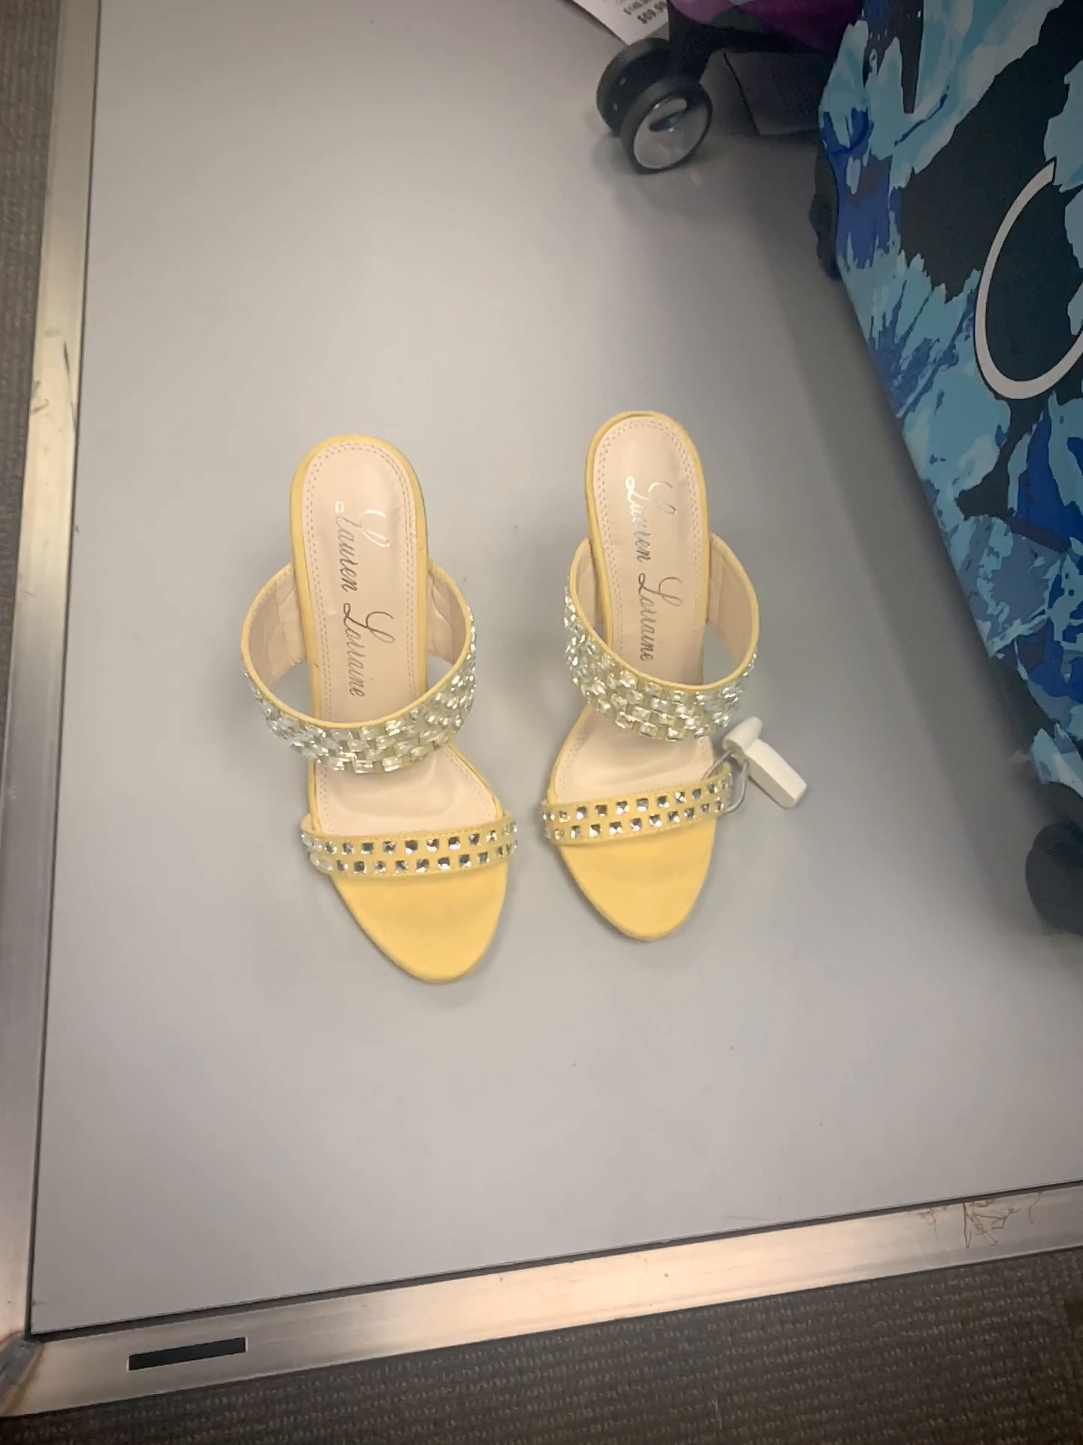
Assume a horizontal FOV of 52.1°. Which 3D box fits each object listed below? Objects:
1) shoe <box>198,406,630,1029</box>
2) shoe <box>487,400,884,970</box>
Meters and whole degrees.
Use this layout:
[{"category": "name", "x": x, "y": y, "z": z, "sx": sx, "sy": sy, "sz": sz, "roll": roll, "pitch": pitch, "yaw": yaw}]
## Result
[{"category": "shoe", "x": -0.055, "y": 0.002, "z": 0.431, "sx": 0.116, "sy": 0.115, "sz": 0.202, "roll": -8, "pitch": 73, "yaw": -11}, {"category": "shoe", "x": 0.045, "y": -0.011, "z": 0.451, "sx": 0.110, "sy": 0.116, "sz": 0.199, "roll": -2, "pitch": 72, "yaw": -9}]
